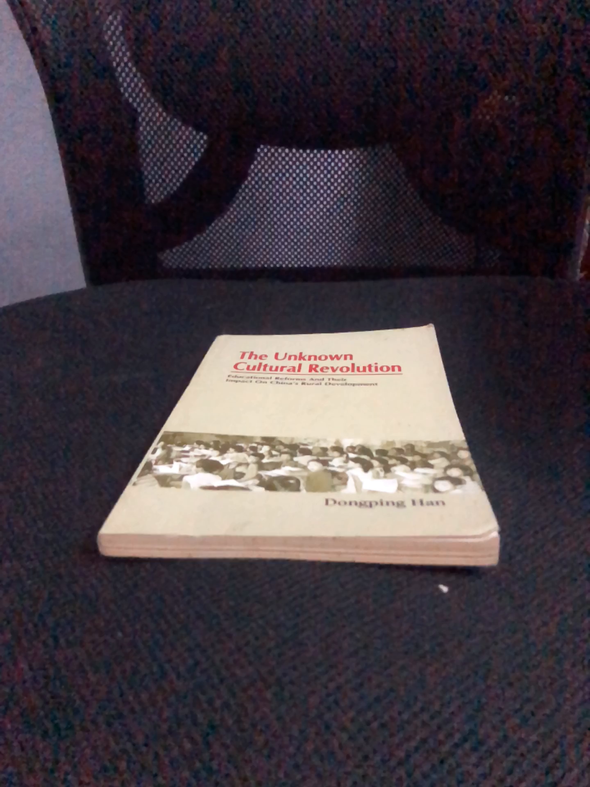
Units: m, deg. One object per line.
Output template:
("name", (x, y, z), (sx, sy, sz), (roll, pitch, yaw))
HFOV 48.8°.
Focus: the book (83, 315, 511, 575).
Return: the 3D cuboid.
("book", (0.007, 0.009, 0.331), (0.154, 0.017, 0.215), (-1, 27, 6))
